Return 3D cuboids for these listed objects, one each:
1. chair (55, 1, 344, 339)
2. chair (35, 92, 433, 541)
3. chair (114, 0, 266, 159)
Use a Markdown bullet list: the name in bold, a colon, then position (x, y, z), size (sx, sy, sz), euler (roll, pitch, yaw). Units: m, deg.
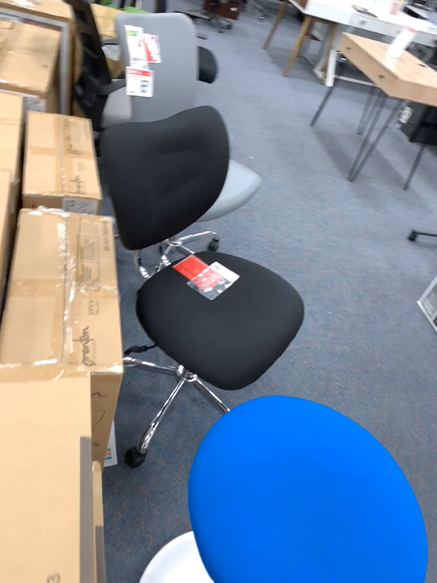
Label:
- **chair**: position (-0.120, -0.512, 1.809), size (0.707, 0.959, 0.741), euler (31, 42, 14)
- **chair**: position (-0.017, 0.048, 1.265), size (0.658, 0.879, 0.650), euler (35, 43, 18)
- **chair**: position (-0.245, -1.627, 2.962), size (0.707, 0.989, 0.982), euler (7, 42, -13)
